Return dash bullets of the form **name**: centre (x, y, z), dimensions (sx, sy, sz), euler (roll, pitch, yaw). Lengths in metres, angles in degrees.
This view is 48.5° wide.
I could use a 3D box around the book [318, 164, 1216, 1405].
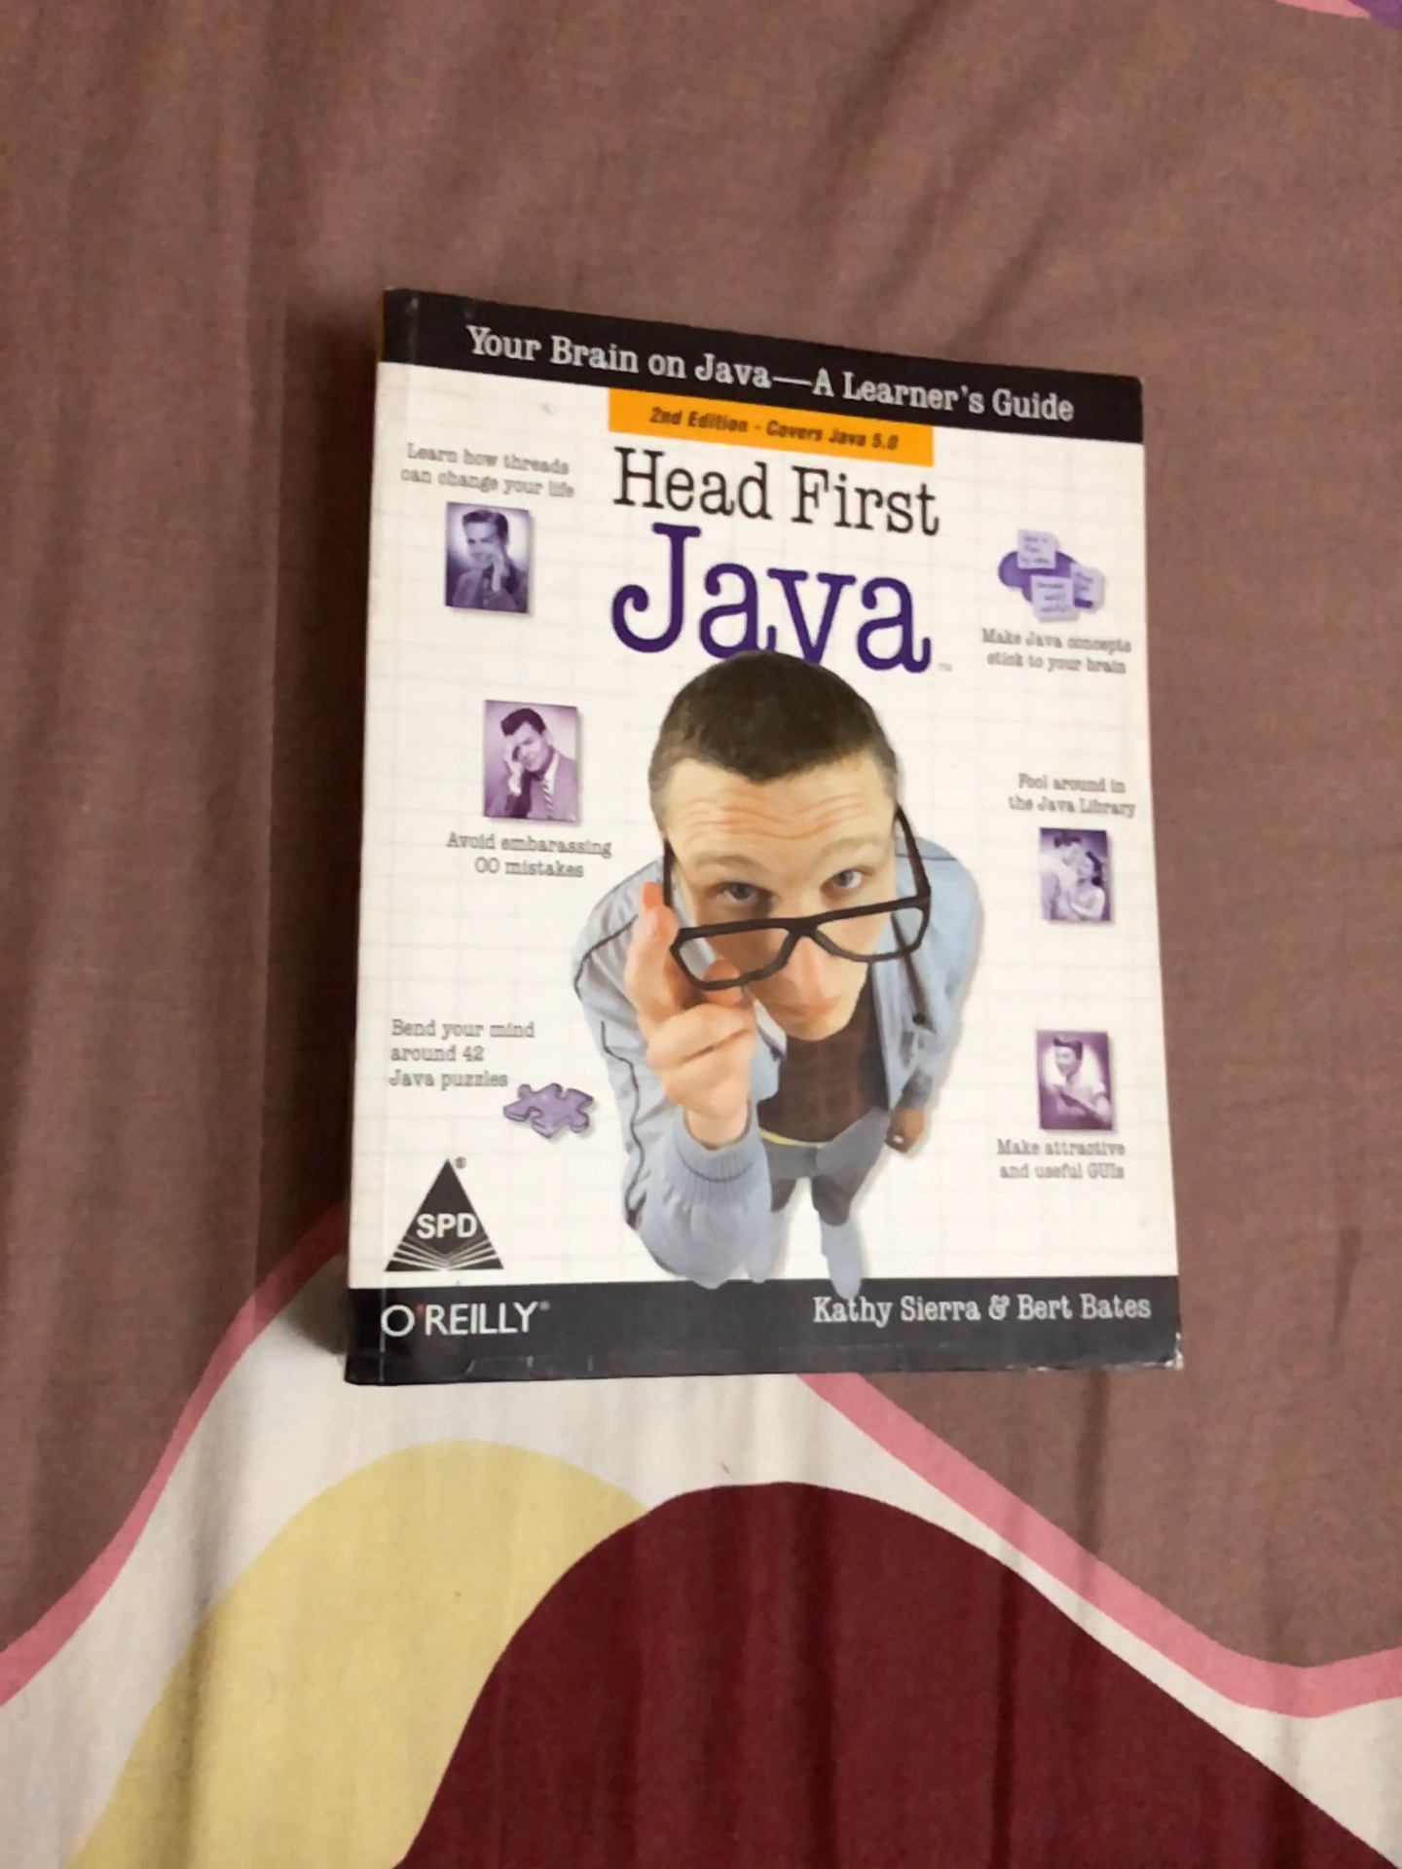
- **book**: centre (0.015, -0.031, 0.362), dimensions (0.190, 0.050, 0.260), euler (2, 82, -12)
